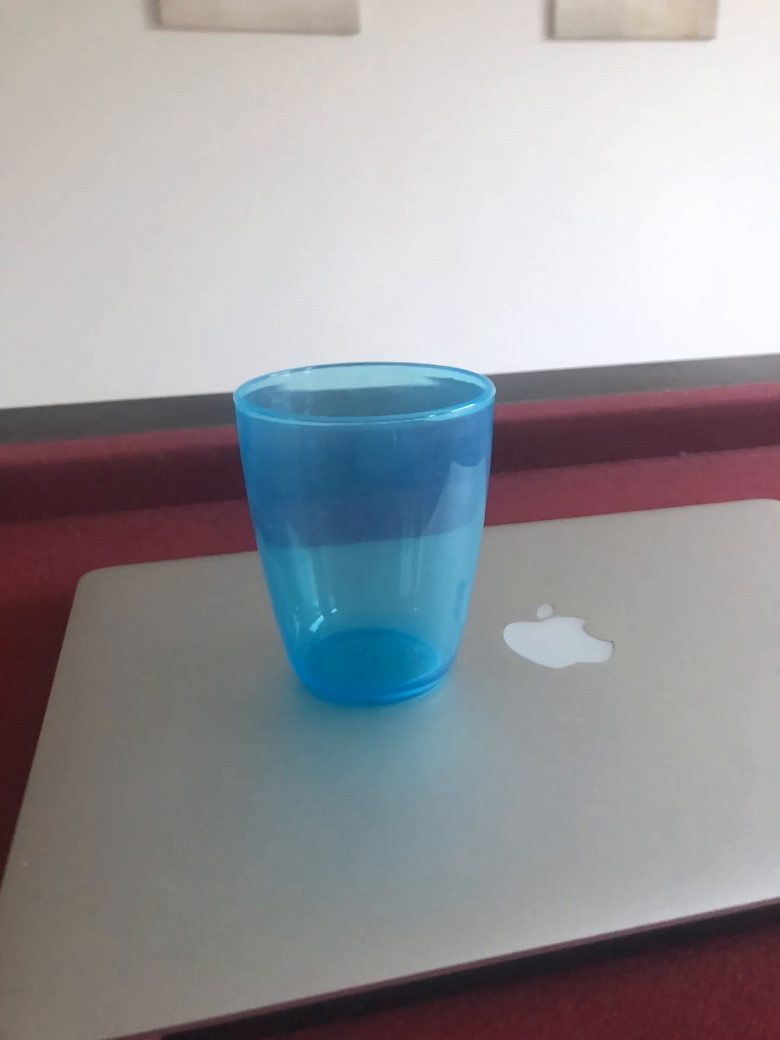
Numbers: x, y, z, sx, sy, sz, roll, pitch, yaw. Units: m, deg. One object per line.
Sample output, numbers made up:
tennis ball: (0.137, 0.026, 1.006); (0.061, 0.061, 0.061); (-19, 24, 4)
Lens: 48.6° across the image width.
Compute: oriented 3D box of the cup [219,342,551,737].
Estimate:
cup: (-0.006, 0.000, 0.288); (0.090, 0.100, 0.080); (-6, 21, -11)
